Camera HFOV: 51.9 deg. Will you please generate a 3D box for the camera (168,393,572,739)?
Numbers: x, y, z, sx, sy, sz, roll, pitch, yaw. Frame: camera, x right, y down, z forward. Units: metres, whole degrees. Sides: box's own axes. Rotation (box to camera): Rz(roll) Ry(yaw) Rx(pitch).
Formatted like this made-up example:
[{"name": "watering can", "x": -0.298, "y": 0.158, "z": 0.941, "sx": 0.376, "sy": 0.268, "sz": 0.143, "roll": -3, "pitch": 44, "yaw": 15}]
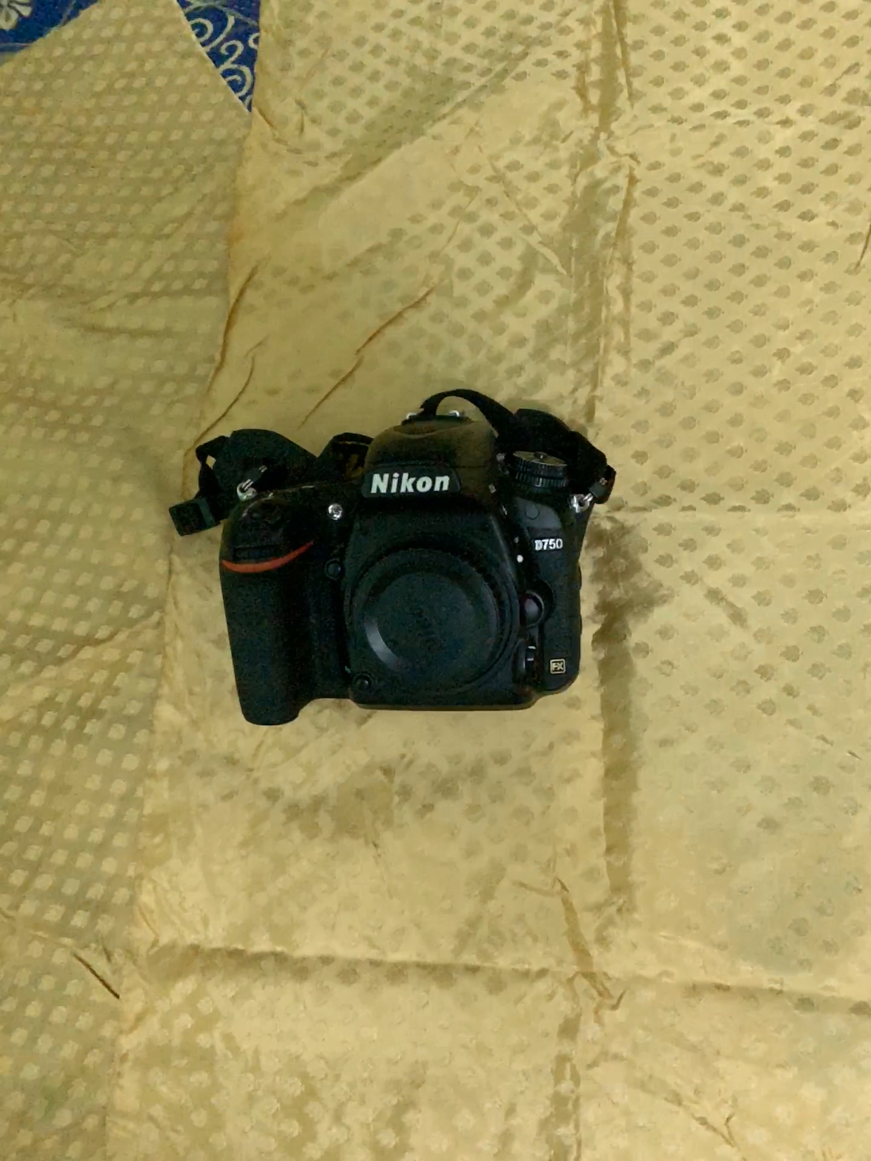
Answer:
[{"name": "camera", "x": -0.016, "y": -0.008, "z": 0.341, "sx": 0.130, "sy": 0.073, "sz": 0.111, "roll": -1, "pitch": 107, "yaw": 11}]
